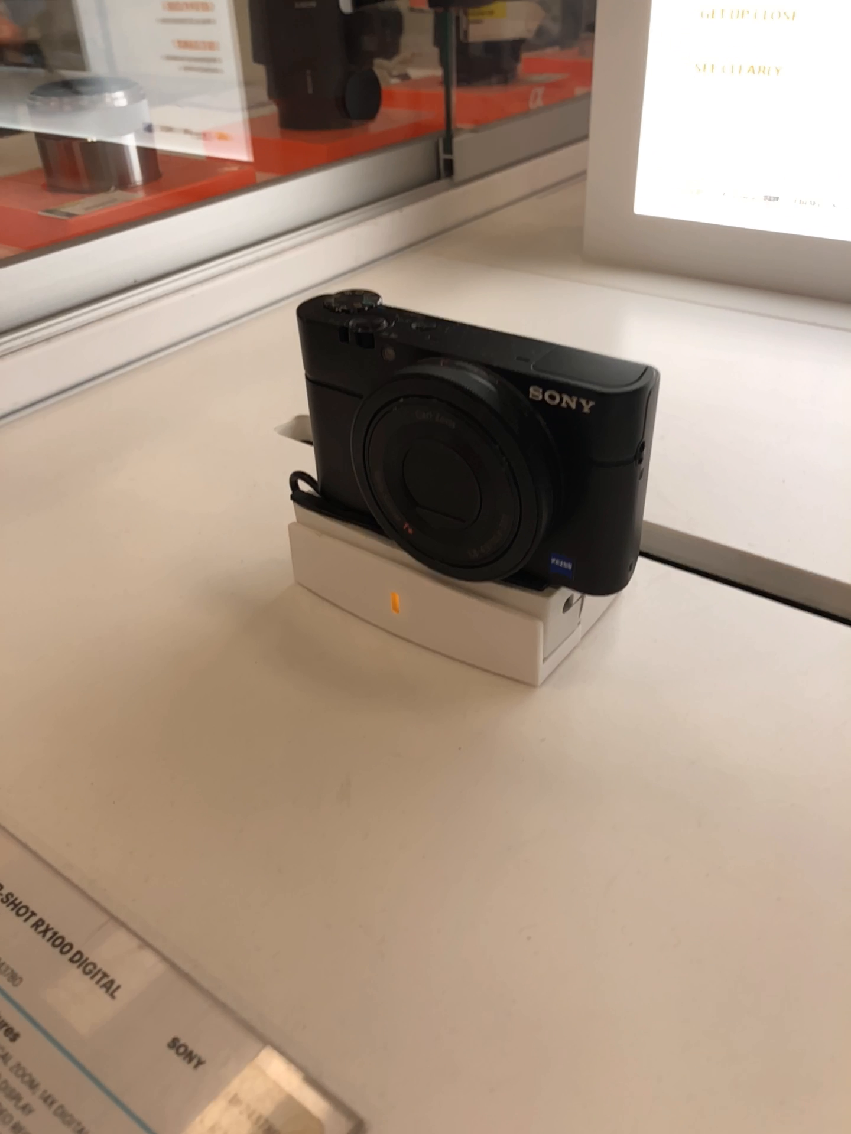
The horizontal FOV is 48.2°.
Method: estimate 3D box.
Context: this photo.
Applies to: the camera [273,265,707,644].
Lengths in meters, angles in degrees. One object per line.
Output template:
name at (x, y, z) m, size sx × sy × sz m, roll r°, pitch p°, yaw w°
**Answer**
camera at (0.013, -0.034, 0.256) m, size 0.110 × 0.070 × 0.030 m, roll 22°, pitch 41°, yaw 31°
